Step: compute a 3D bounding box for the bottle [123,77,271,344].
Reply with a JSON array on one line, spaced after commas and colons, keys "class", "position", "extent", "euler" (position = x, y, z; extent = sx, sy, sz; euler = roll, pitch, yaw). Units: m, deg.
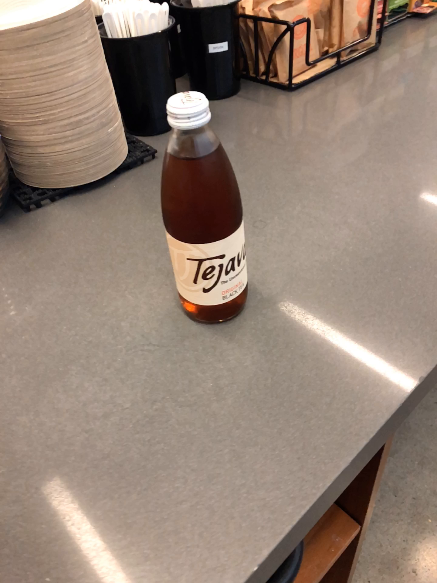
[{"class": "bottle", "position": [-0.008, -0.058, 0.391], "extent": [0.070, 0.189, 0.070], "euler": [-3, 43, 3]}]
